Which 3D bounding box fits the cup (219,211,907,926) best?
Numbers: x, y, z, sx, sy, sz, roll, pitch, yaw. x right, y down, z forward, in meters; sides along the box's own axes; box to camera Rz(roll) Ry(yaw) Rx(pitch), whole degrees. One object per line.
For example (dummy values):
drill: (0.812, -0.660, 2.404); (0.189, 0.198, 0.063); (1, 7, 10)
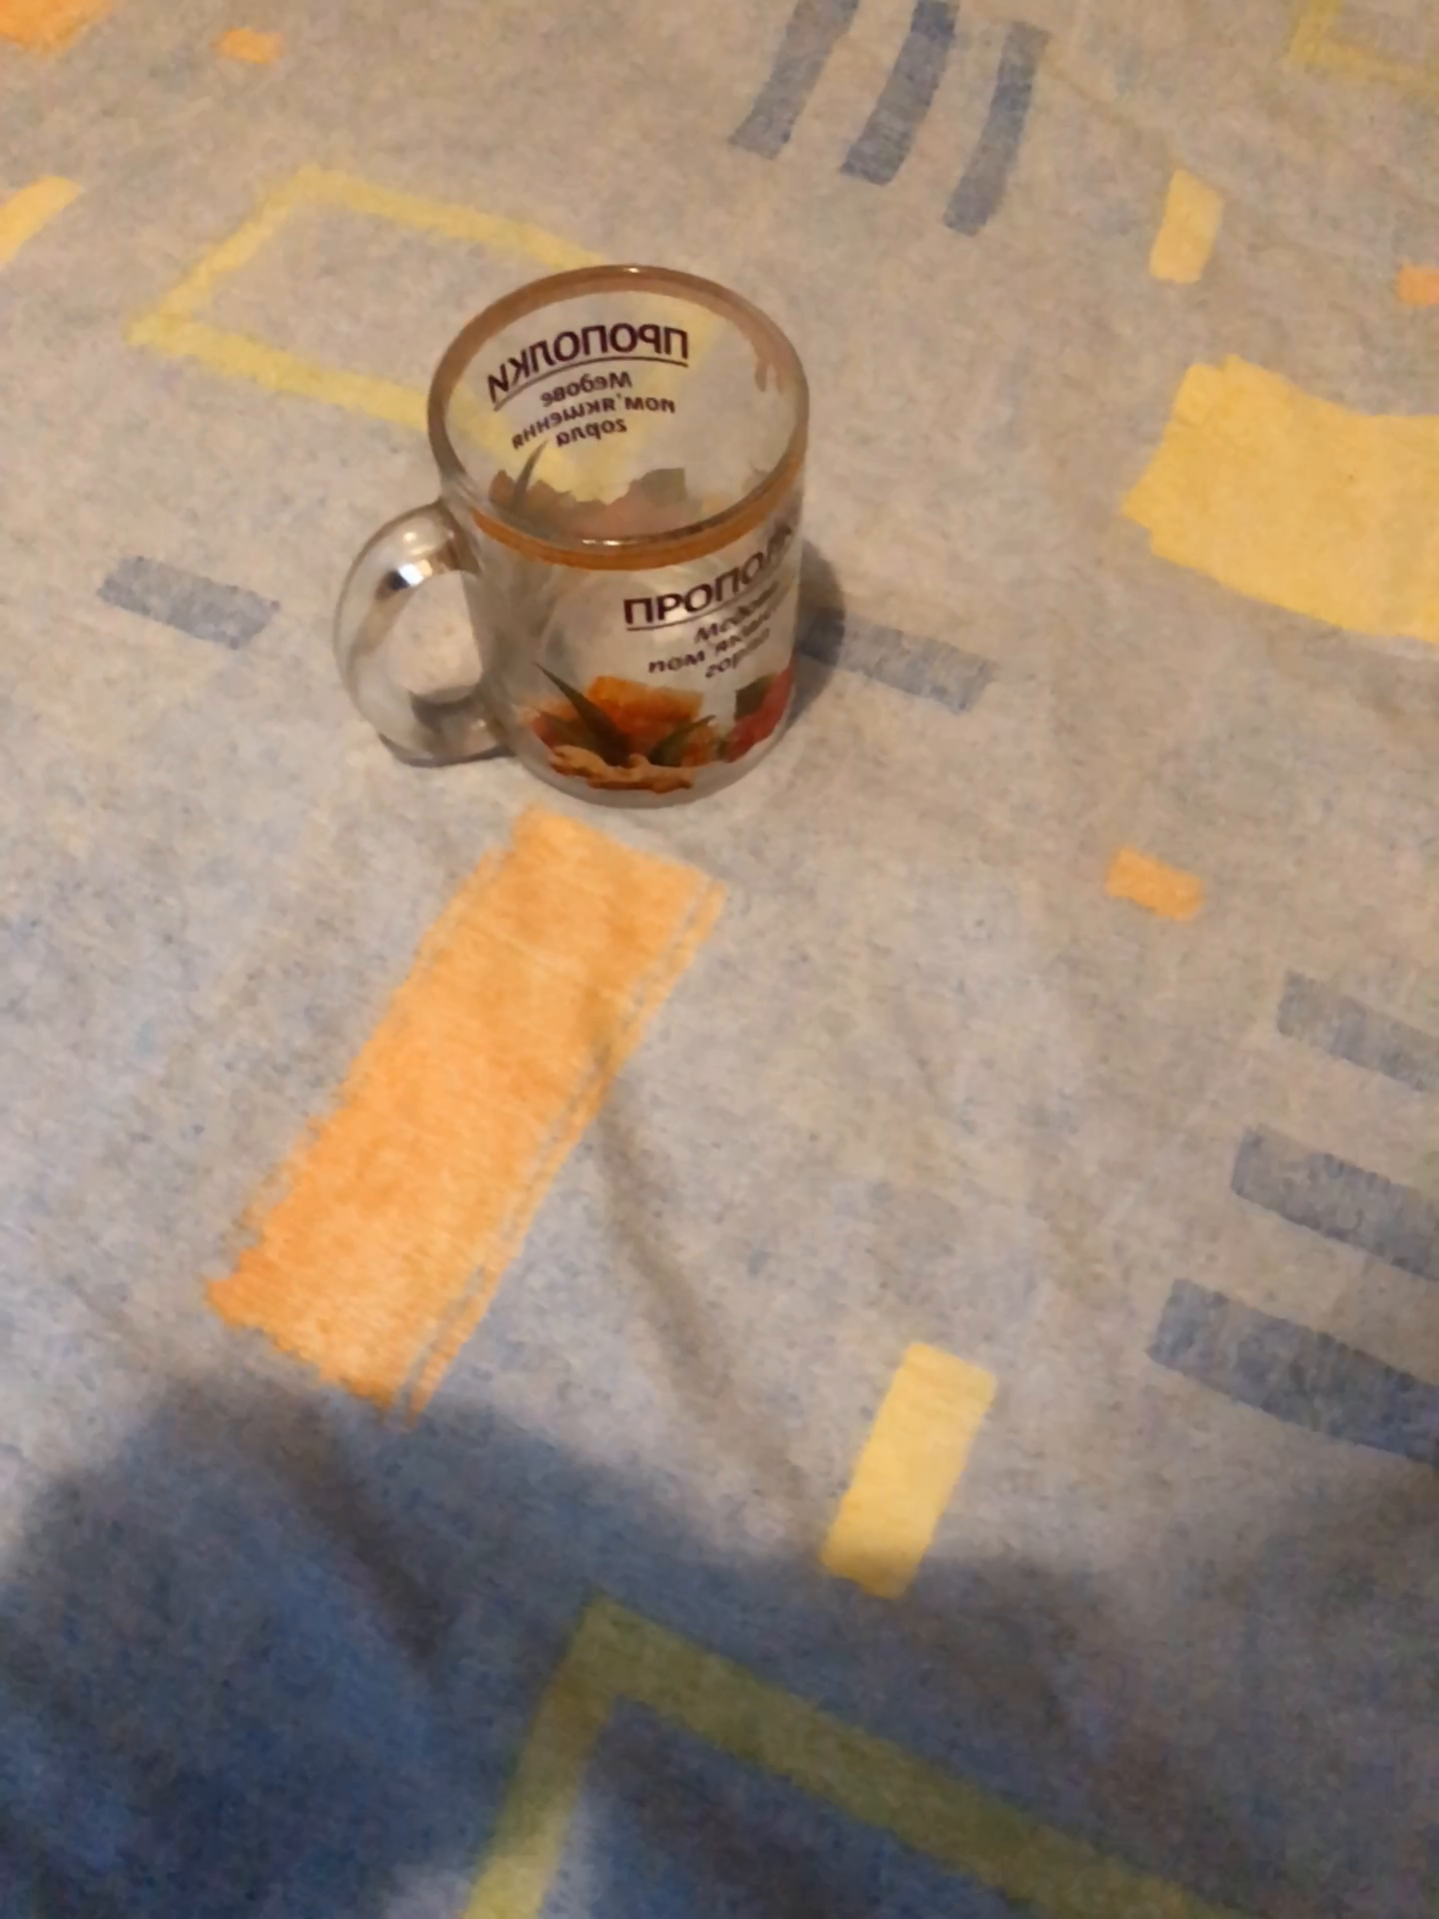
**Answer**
cup: (-0.033, -0.086, 0.359); (0.110, 0.092, 0.084); (-28, 67, -16)
